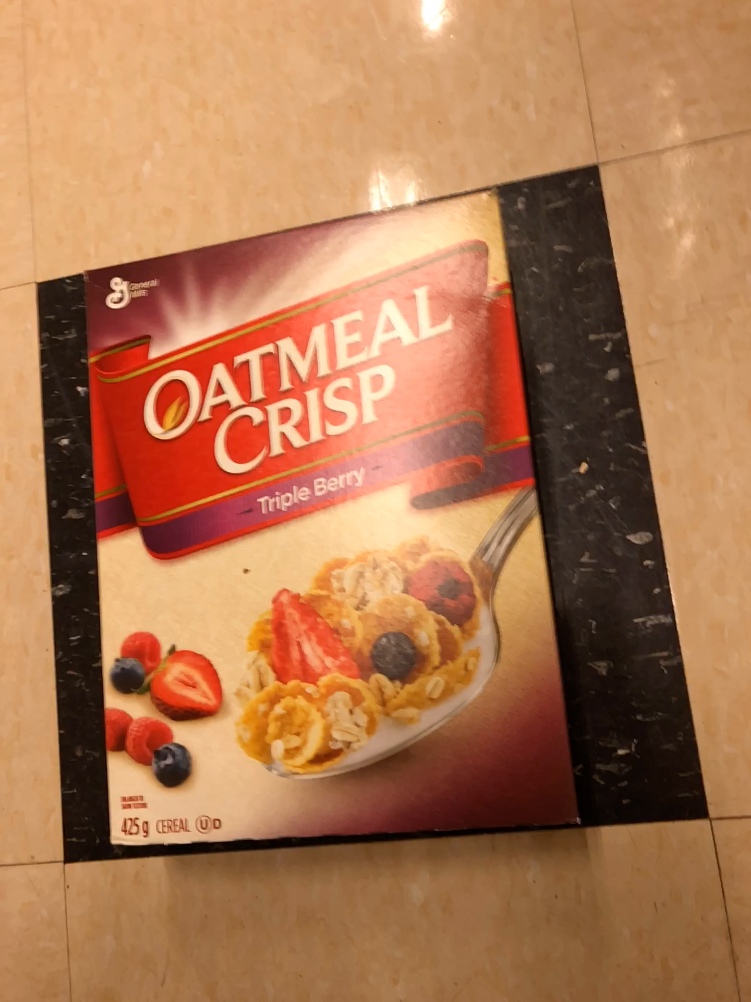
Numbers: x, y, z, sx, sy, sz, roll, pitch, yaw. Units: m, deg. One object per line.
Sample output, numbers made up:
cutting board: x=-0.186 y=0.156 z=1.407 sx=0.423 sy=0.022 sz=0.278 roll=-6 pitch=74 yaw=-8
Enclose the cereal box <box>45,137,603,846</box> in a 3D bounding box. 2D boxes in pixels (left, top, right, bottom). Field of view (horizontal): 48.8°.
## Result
cereal box: x=-0.027 y=0.001 z=0.349 sx=0.200 sy=0.070 sz=0.250 roll=-8 pitch=79 yaw=11
